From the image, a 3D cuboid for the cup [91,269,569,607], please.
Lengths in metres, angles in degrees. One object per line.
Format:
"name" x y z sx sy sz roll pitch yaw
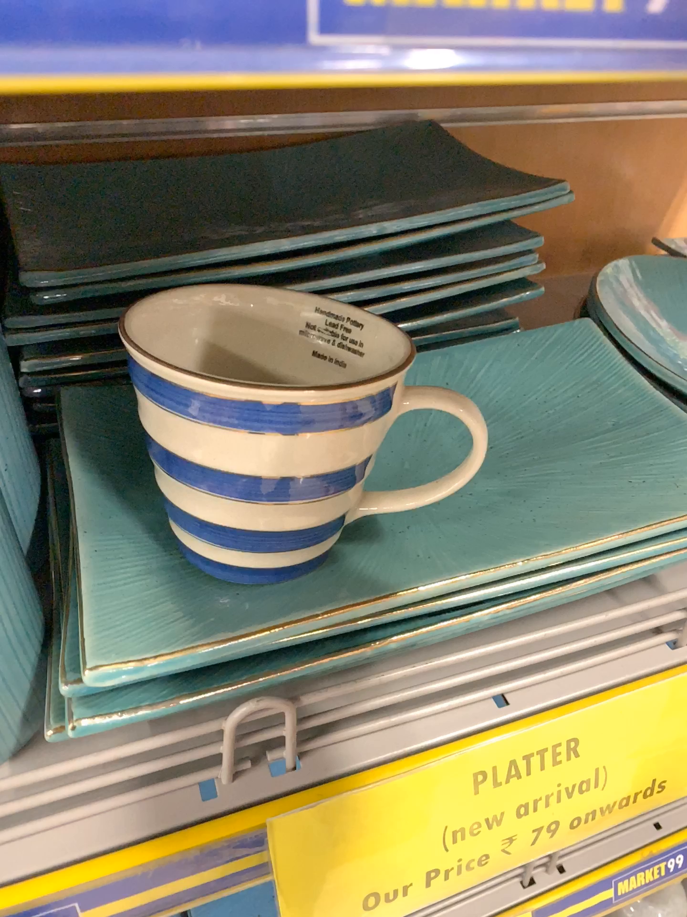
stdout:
"cup" -0.010 -0.011 0.268 0.140 0.080 0.100 3 30 -8
